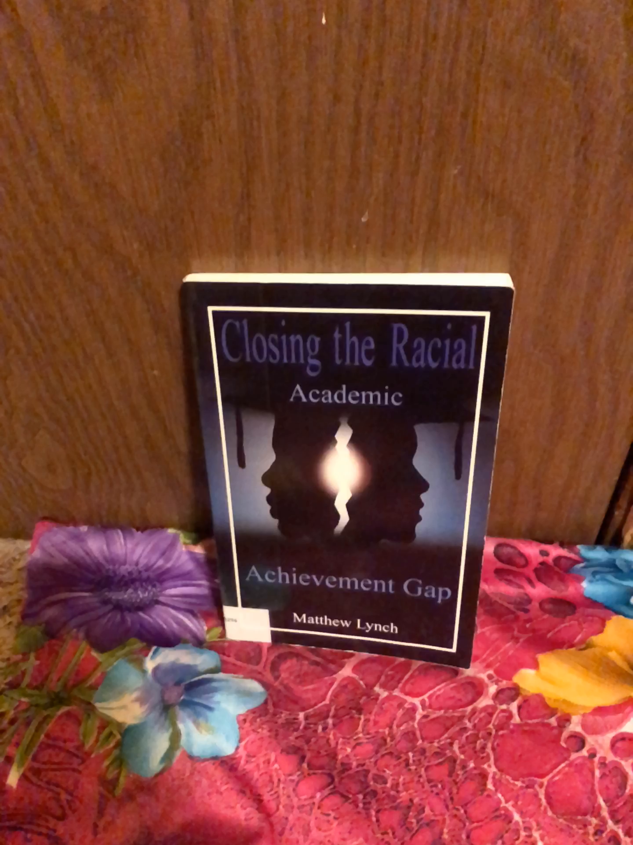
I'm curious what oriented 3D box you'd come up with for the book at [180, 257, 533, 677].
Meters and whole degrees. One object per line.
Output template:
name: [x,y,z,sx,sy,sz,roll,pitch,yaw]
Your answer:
book: [0.019,0.034,0.365,0.146,0.230,0.036,3,32,7]
